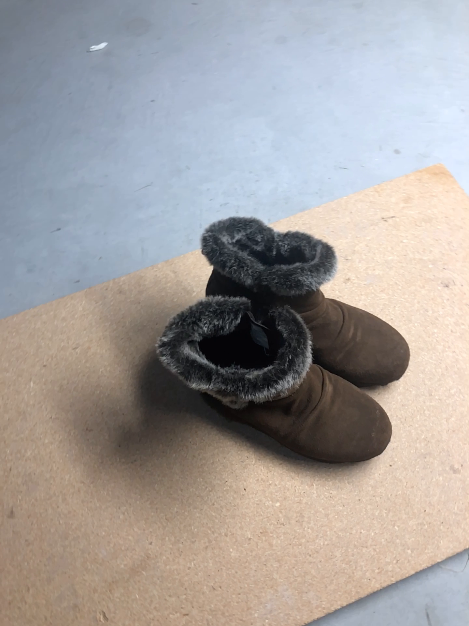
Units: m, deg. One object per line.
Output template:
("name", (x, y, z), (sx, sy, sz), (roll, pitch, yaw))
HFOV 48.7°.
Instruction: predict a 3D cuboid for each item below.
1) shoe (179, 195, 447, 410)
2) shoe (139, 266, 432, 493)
("shoe", (0.084, -0.004, 0.631), (0.260, 0.200, 0.100), (20, 65, 12))
("shoe", (0.049, 0.085, 0.574), (0.250, 0.220, 0.100), (20, 65, 12))
